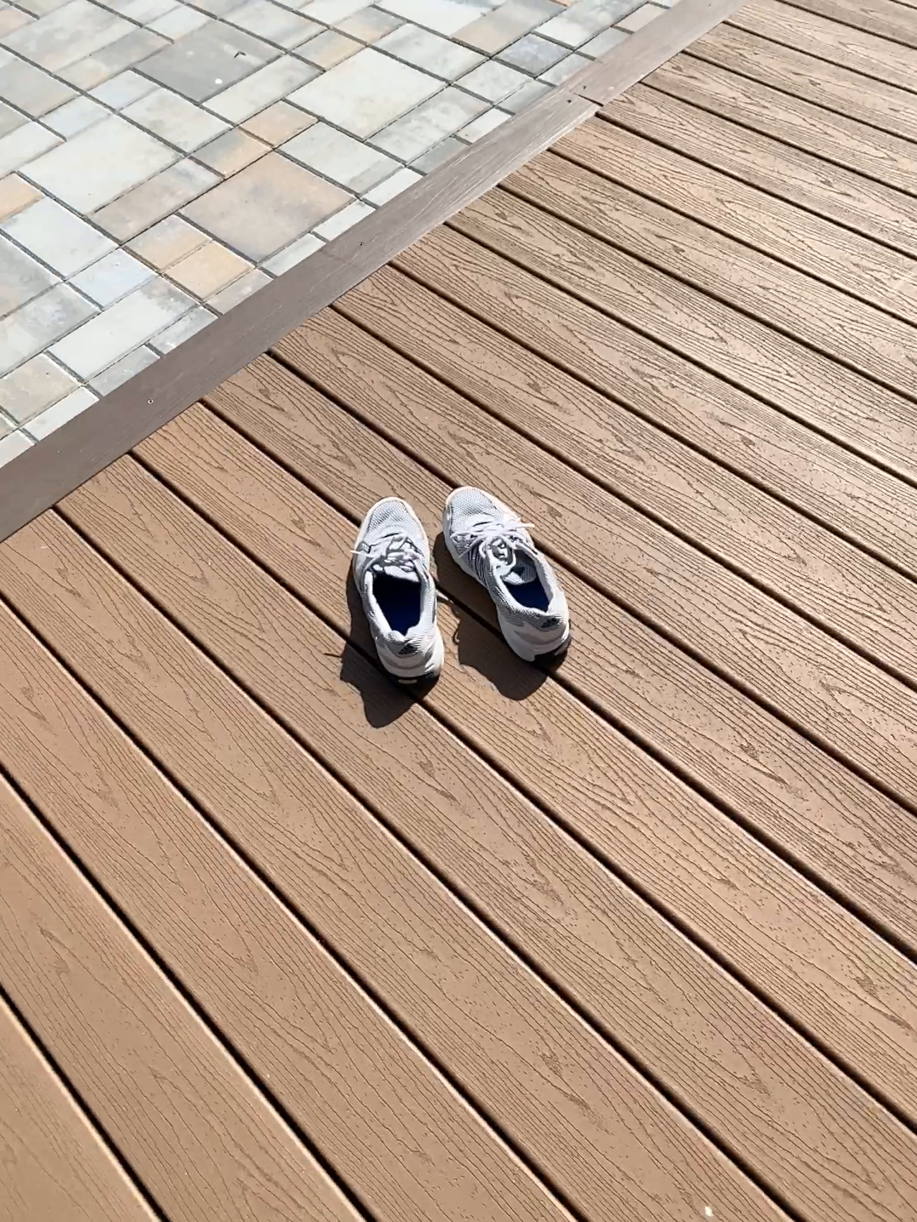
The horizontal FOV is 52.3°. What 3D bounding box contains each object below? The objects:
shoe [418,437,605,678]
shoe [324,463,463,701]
[{"bbox_3d":[0.065,-0.077,1.244,0.120,0.100,0.301,-23,59,-9],"label":"shoe"},{"bbox_3d":[-0.088,-0.043,1.238,0.120,0.100,0.291,-13,58,-3],"label":"shoe"}]
